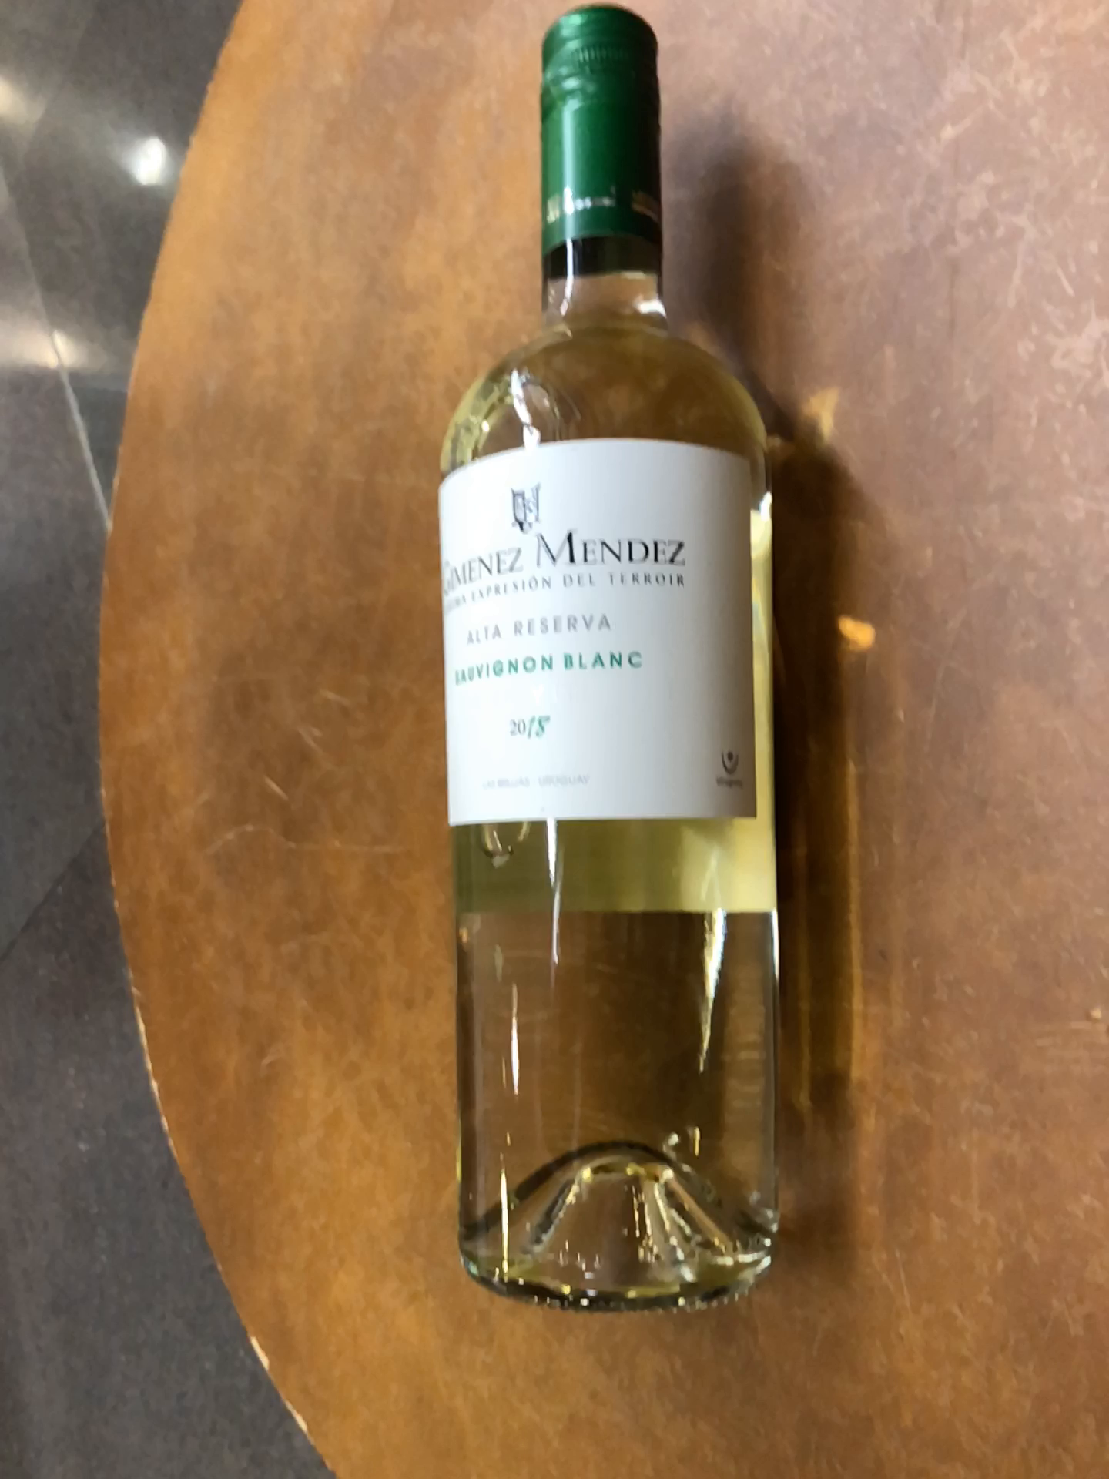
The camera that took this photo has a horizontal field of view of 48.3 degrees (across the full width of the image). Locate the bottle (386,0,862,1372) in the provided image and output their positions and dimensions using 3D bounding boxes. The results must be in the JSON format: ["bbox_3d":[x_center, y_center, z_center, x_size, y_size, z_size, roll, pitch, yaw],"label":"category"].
[{"bbox_3d":[0.010,-0.033,0.282,0.090,0.050,0.300,-8,80,44],"label":"bottle"}]
